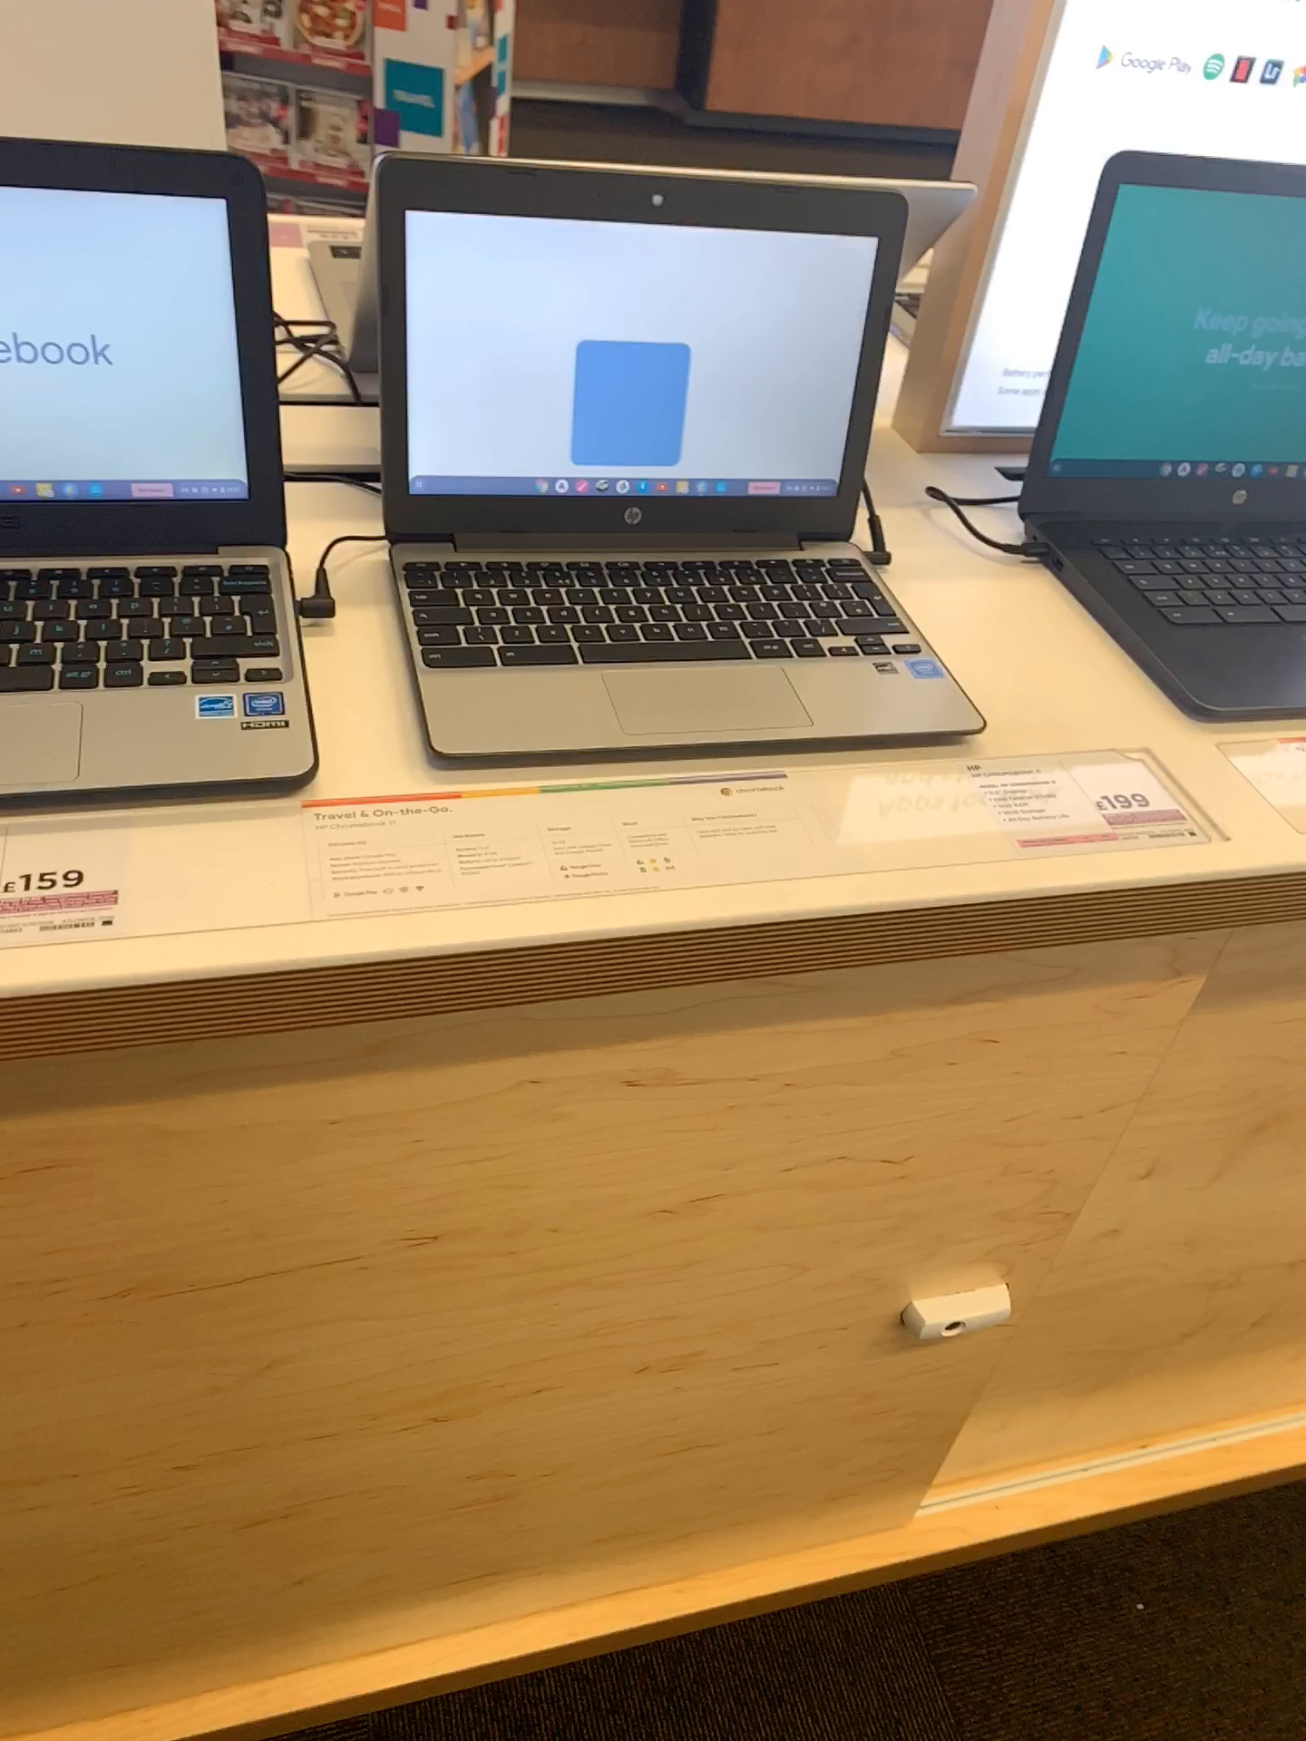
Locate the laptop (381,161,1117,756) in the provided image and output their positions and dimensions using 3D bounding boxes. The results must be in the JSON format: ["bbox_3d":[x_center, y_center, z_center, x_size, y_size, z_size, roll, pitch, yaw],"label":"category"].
[{"bbox_3d":[0.020,-0.207,0.658,0.277,0.185,0.229,-4,42,-15],"label":"laptop"}]

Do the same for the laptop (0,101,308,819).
[{"bbox_3d":[-0.305,-0.174,0.556,0.287,0.180,0.223,-5,43,-17],"label":"laptop"}]
